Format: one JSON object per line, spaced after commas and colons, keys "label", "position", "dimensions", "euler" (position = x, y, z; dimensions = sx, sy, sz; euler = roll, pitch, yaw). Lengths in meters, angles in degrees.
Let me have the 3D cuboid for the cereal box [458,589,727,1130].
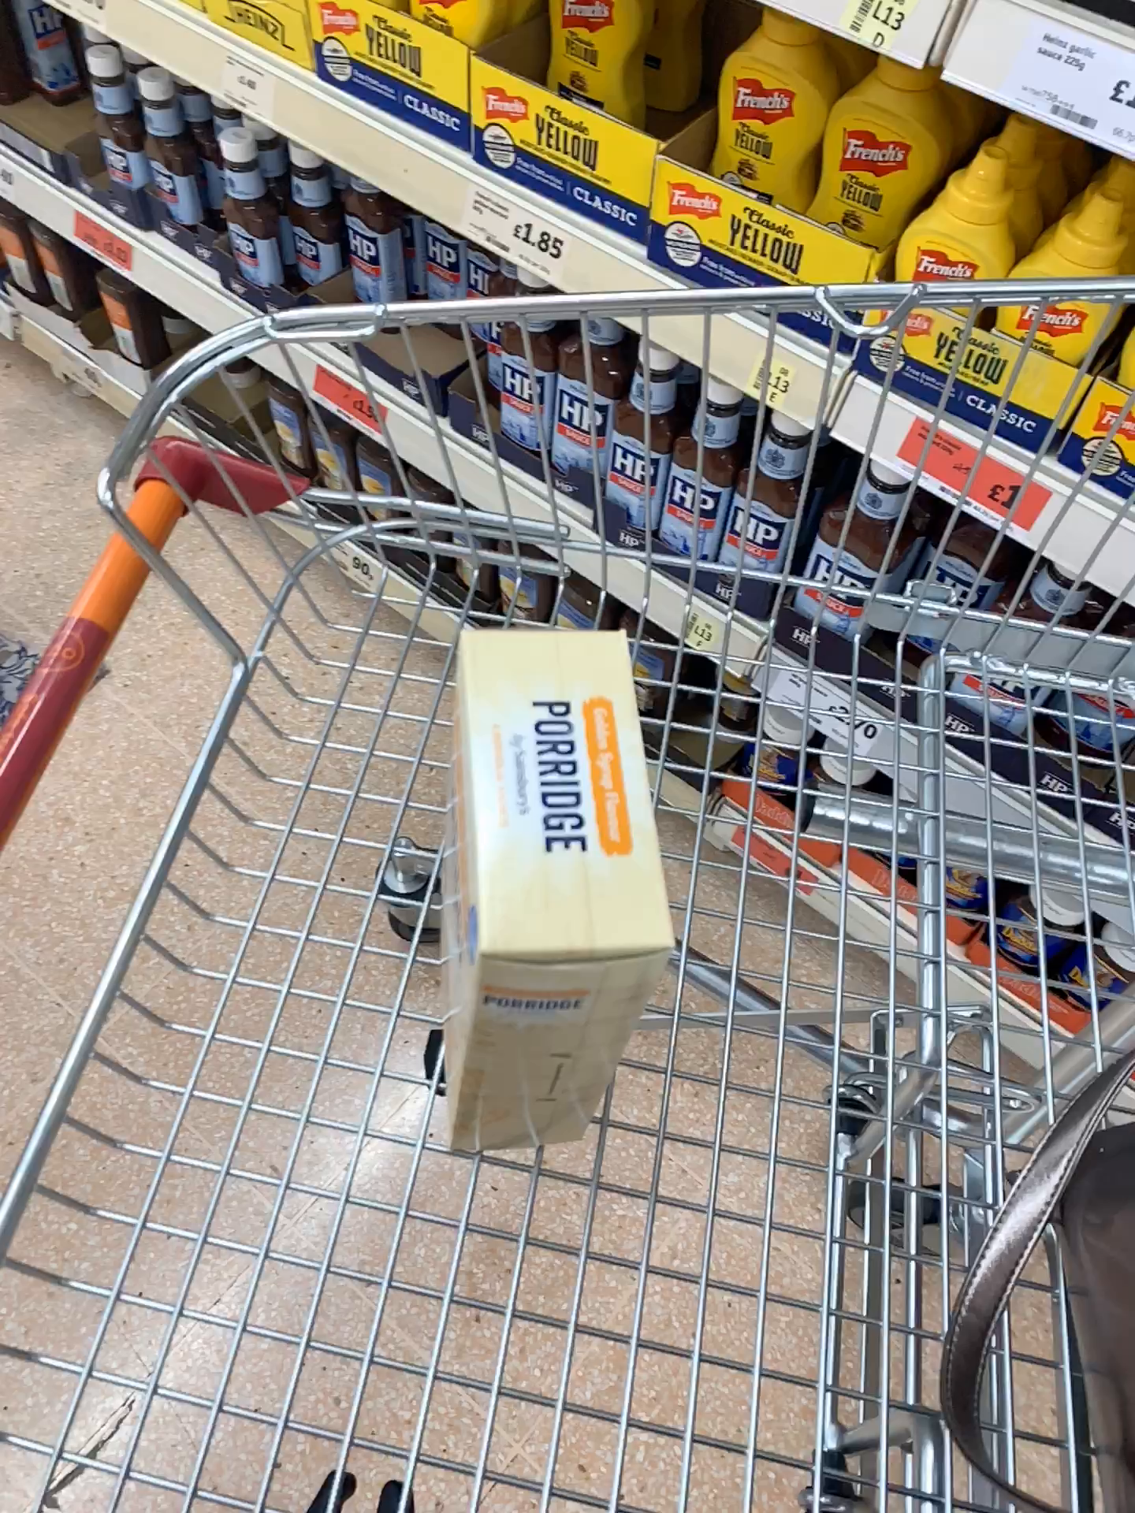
{"label": "cereal box", "position": [-0.004, 0.052, 0.462], "dimensions": [0.070, 0.208, 0.131], "euler": [-1, 57, -8]}
